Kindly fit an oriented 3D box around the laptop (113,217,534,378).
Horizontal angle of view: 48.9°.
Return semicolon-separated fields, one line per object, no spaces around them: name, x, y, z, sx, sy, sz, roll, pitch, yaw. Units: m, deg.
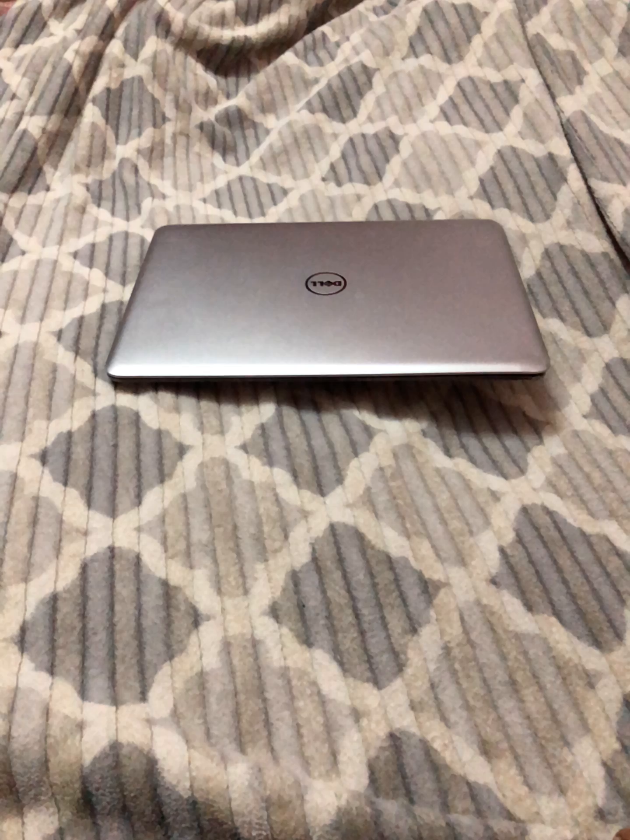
laptop;0.007;-0.130;0.682;0.359;0.007;0.253;-1;45;2
